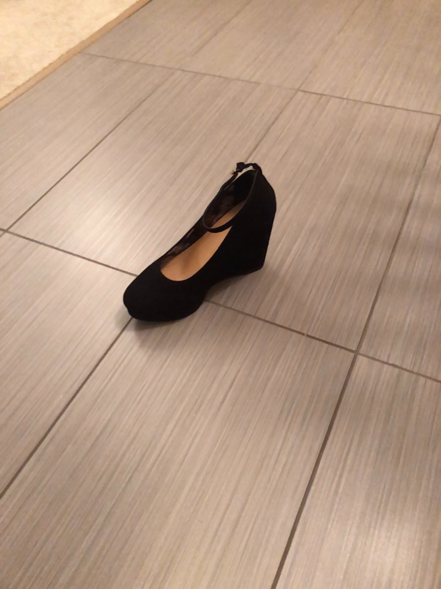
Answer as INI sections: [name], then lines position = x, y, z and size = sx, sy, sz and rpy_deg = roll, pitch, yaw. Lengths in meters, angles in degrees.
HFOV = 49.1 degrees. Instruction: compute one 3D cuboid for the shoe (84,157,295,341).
[shoe]
position = -0.034, -0.062, 0.647
size = 0.240, 0.139, 0.100
rpy_deg = -23, 52, -15
